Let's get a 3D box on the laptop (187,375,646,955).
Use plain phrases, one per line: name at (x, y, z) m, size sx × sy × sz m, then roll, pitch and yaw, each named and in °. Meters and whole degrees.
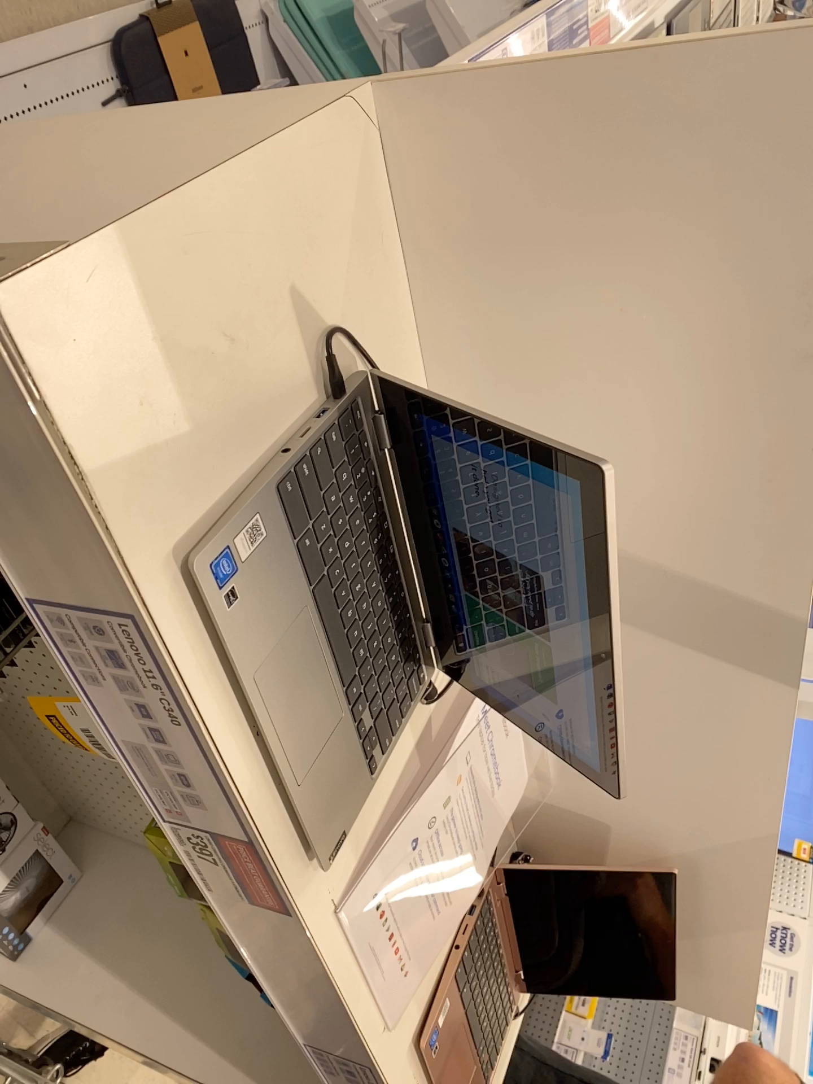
laptop at (0.037, 0.071, 0.535) m, size 0.201 × 0.180 × 0.284 m, roll -55°, pitch 143°, yaw -43°
